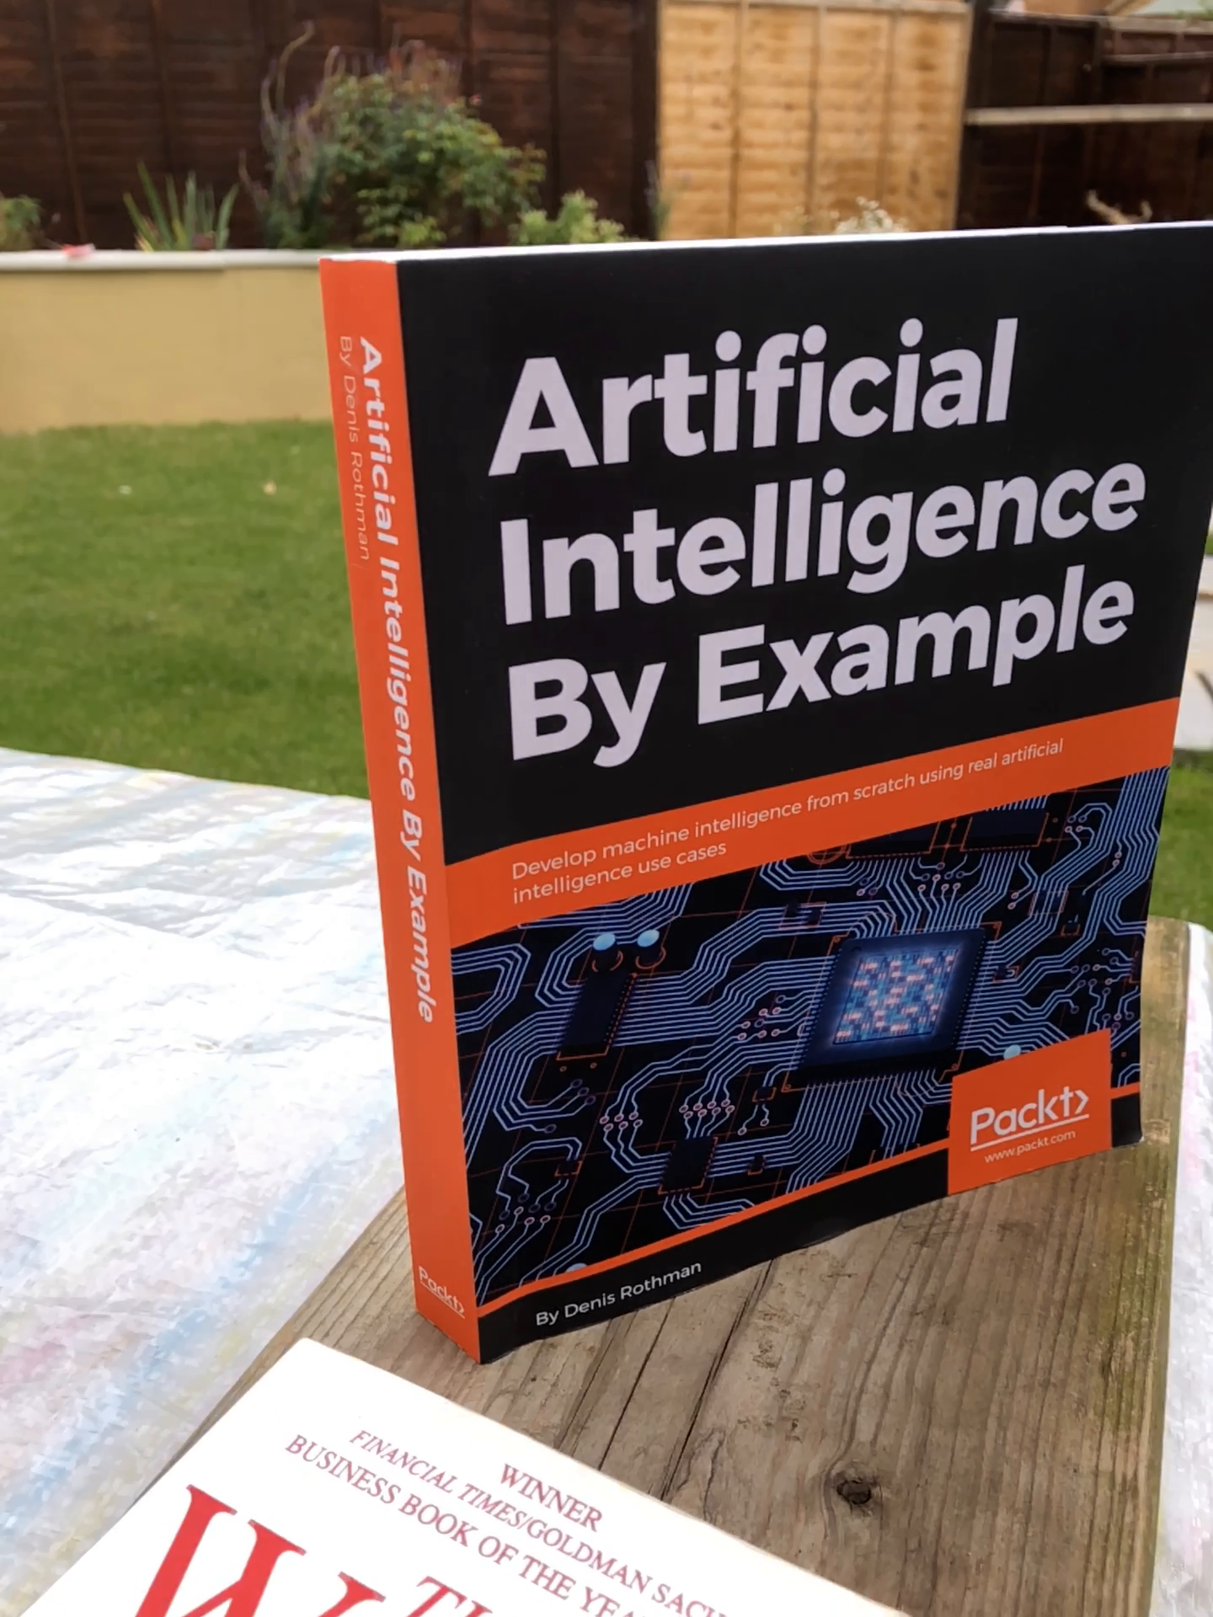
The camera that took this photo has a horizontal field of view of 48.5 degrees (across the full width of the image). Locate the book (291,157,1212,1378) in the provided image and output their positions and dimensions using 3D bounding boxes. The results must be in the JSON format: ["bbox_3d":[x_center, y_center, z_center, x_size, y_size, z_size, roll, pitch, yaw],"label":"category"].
[{"bbox_3d":[0.051,-0.012,0.303,0.210,0.239,0.040,-10,23,-21],"label":"book"}]
